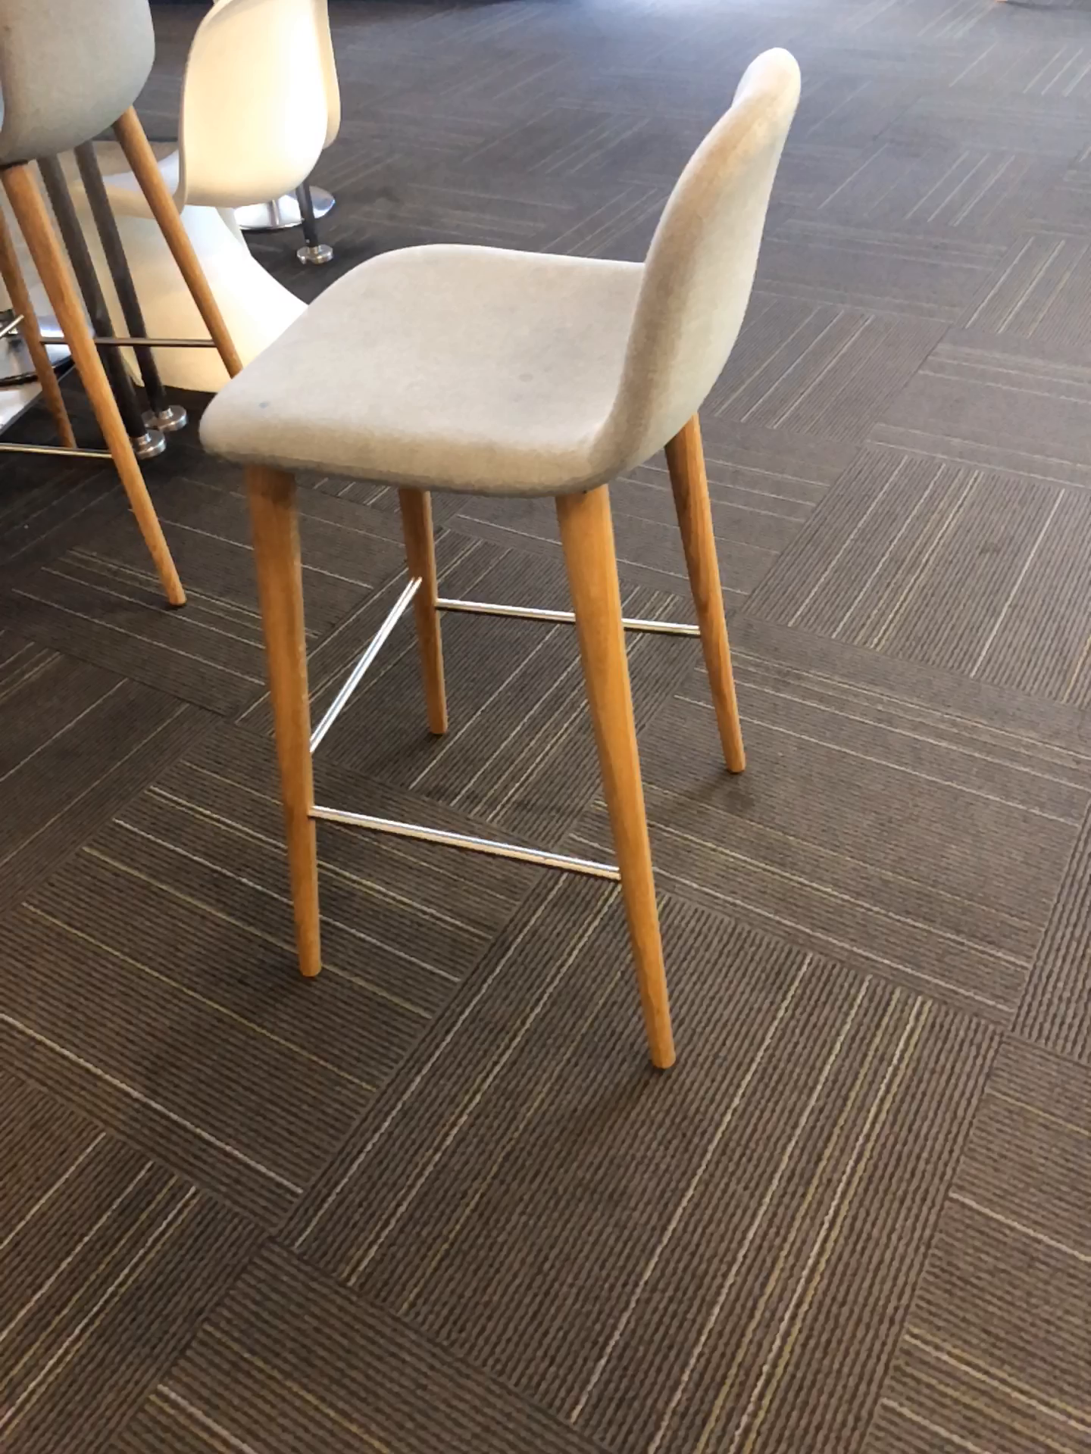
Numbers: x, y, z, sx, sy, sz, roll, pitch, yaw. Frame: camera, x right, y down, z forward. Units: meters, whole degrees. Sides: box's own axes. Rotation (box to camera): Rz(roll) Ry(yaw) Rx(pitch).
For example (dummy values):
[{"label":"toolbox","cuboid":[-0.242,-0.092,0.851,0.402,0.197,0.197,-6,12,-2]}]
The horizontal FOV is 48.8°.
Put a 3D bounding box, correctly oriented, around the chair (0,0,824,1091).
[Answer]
[{"label":"chair","cuboid":[-0.057,-0.189,1.252,0.561,0.945,0.572,7,41,13]}]
